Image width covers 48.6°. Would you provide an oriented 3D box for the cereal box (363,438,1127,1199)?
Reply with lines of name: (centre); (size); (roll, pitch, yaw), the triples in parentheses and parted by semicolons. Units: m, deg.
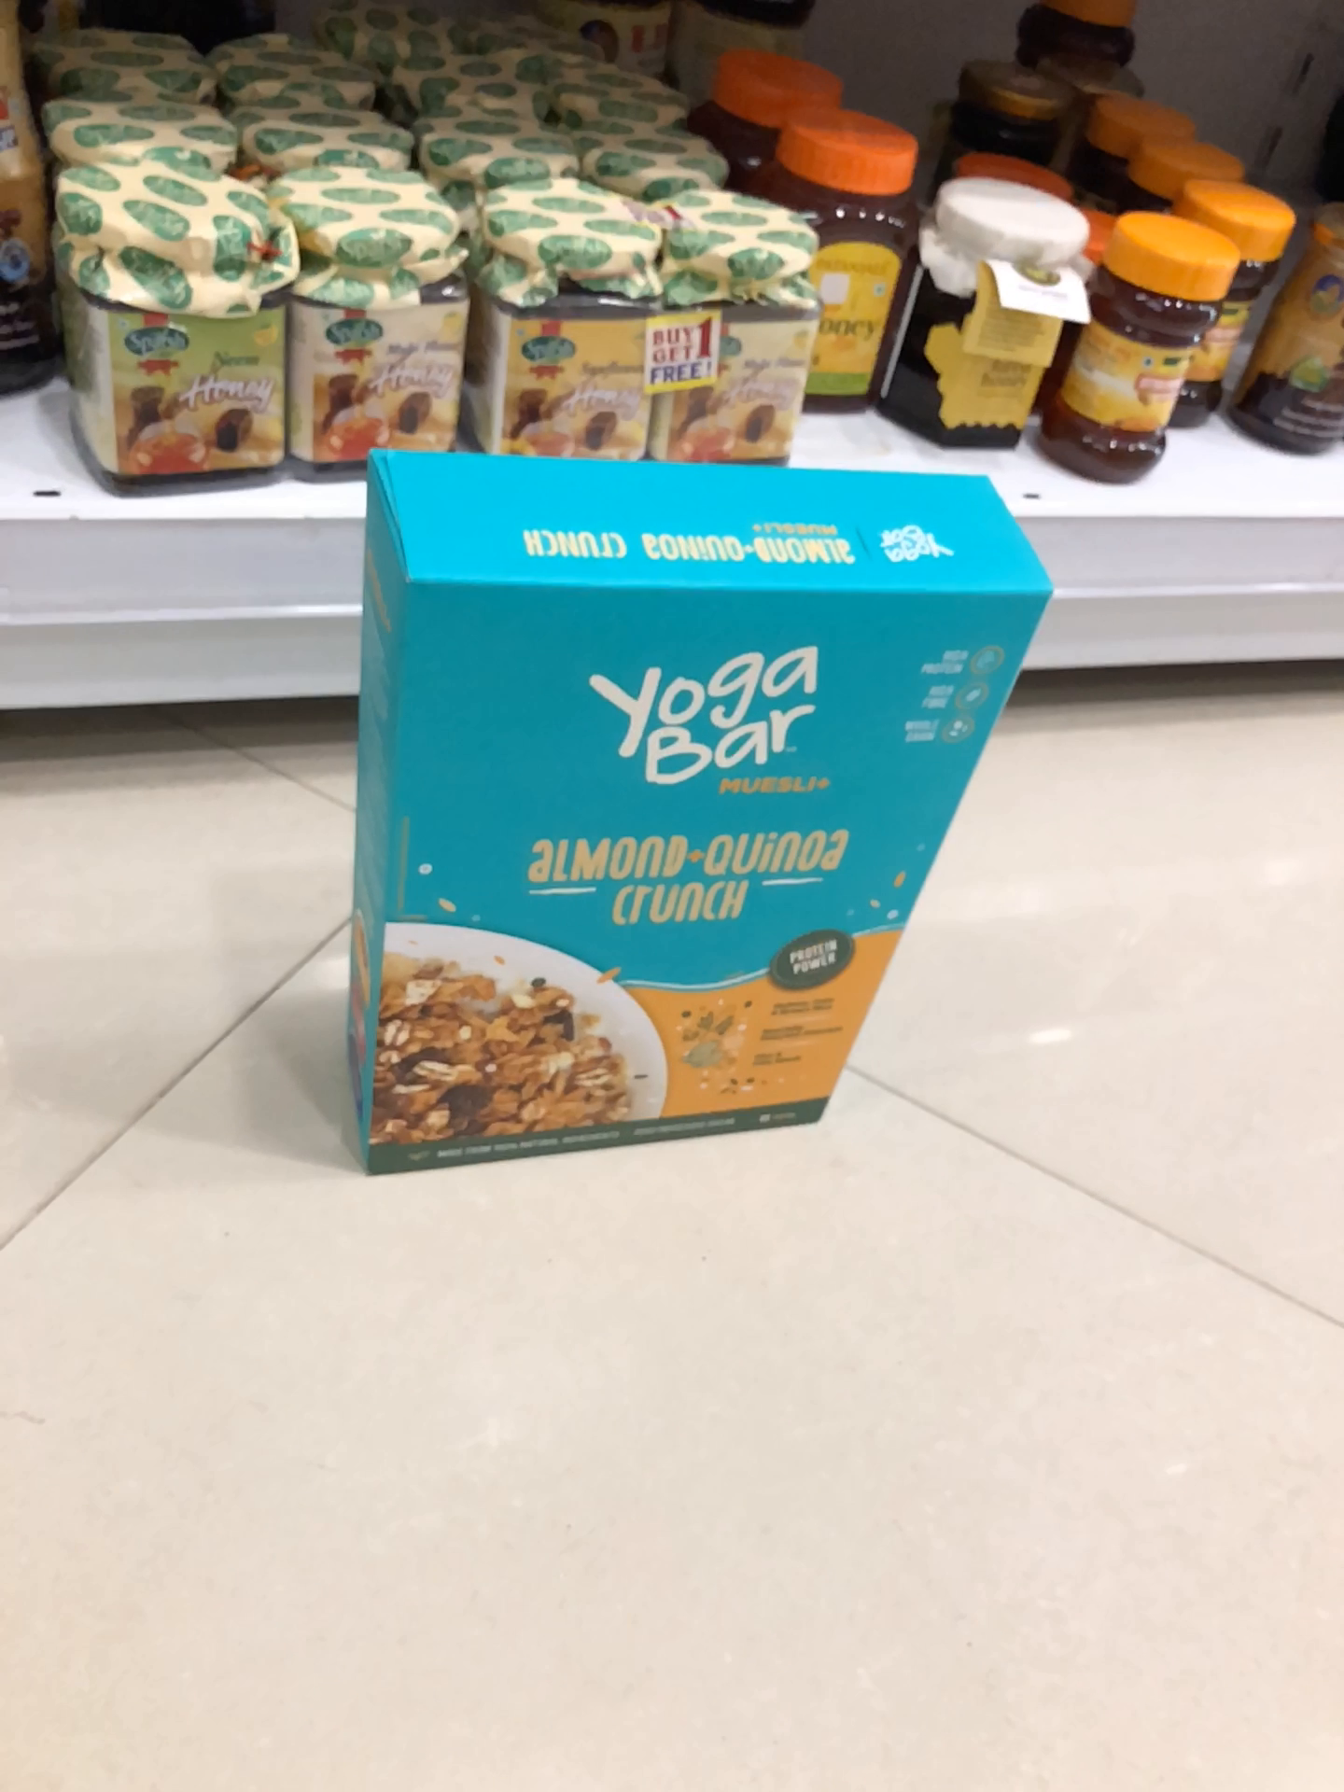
cereal box: (0.003, -0.012, 0.437); (0.170, 0.228, 0.060); (-4, 46, -18)
